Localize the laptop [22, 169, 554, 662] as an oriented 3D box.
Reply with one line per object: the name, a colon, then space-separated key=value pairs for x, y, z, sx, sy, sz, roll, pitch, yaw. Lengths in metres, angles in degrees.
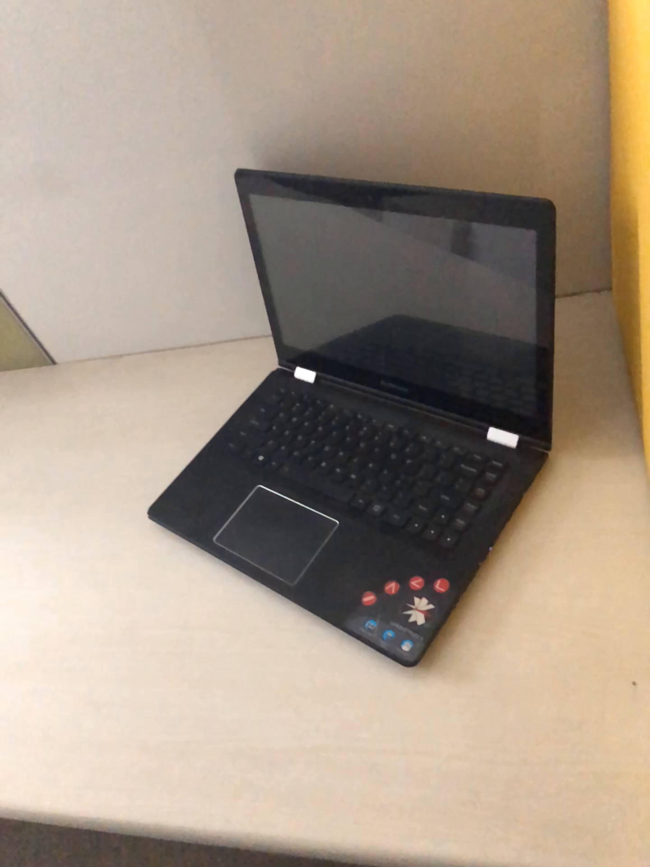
laptop: x=-0.015 y=-0.040 z=0.611 sx=0.312 sy=0.225 sz=0.264 roll=22 pitch=59 yaw=36
